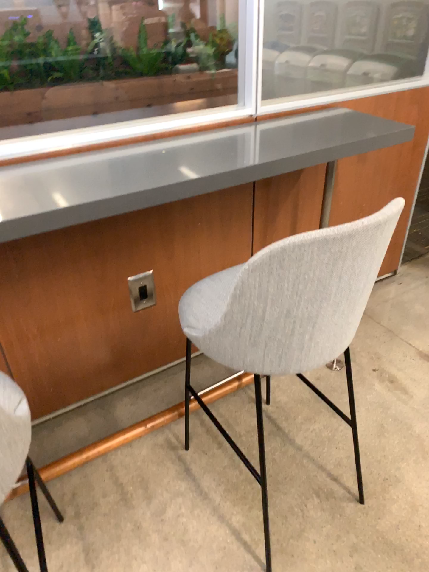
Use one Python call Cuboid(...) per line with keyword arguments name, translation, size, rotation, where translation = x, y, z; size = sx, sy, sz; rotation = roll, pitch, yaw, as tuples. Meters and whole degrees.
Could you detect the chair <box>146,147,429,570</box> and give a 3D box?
Cuboid(name="chair", translation=(0.167, 0.214, 1.261), size=(0.411, 1.034, 0.512), rotation=(-24, 40, -31))
